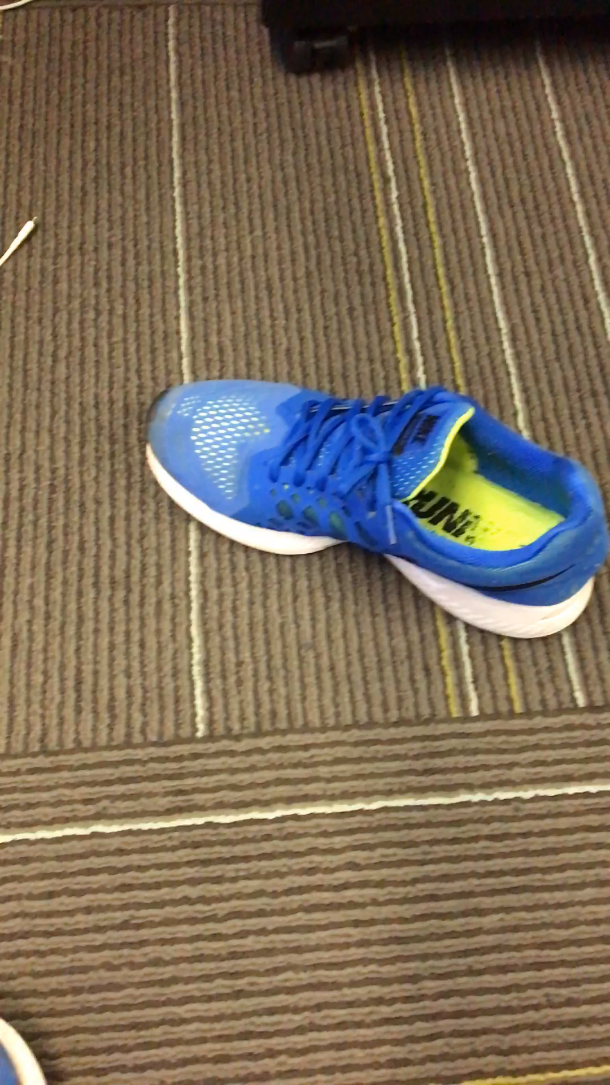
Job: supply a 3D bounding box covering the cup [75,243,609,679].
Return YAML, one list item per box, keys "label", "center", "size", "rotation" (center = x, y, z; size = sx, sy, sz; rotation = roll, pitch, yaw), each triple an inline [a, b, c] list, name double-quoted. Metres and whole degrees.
- label: "cup"
  center: [0.042, -0.046, 0.526]
  size: [0.300, 0.100, 0.130]
  rotation: [20, 68, 6]
